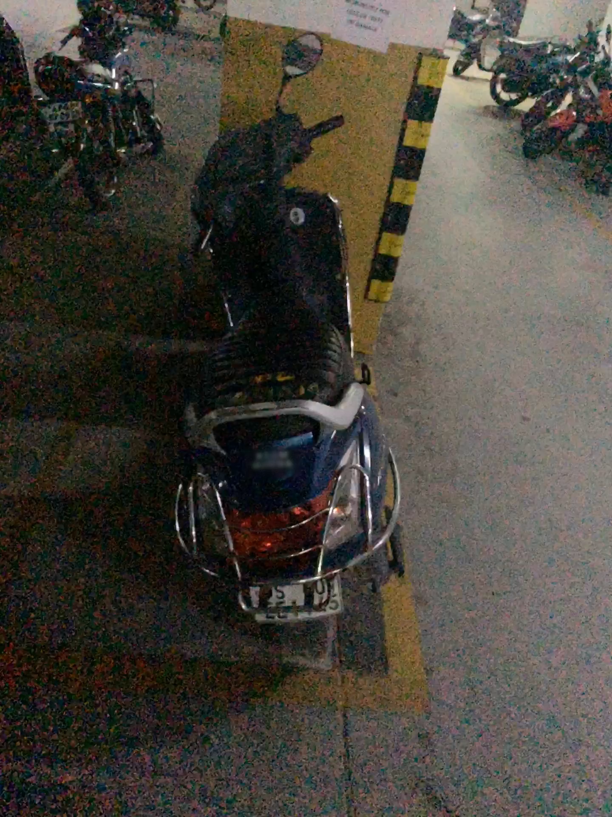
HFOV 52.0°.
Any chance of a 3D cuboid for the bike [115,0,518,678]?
[{"bbox_3d":[-0.147,-0.241,1.687,0.631,1.063,1.275,0,43,-14],"label":"bike"}]
